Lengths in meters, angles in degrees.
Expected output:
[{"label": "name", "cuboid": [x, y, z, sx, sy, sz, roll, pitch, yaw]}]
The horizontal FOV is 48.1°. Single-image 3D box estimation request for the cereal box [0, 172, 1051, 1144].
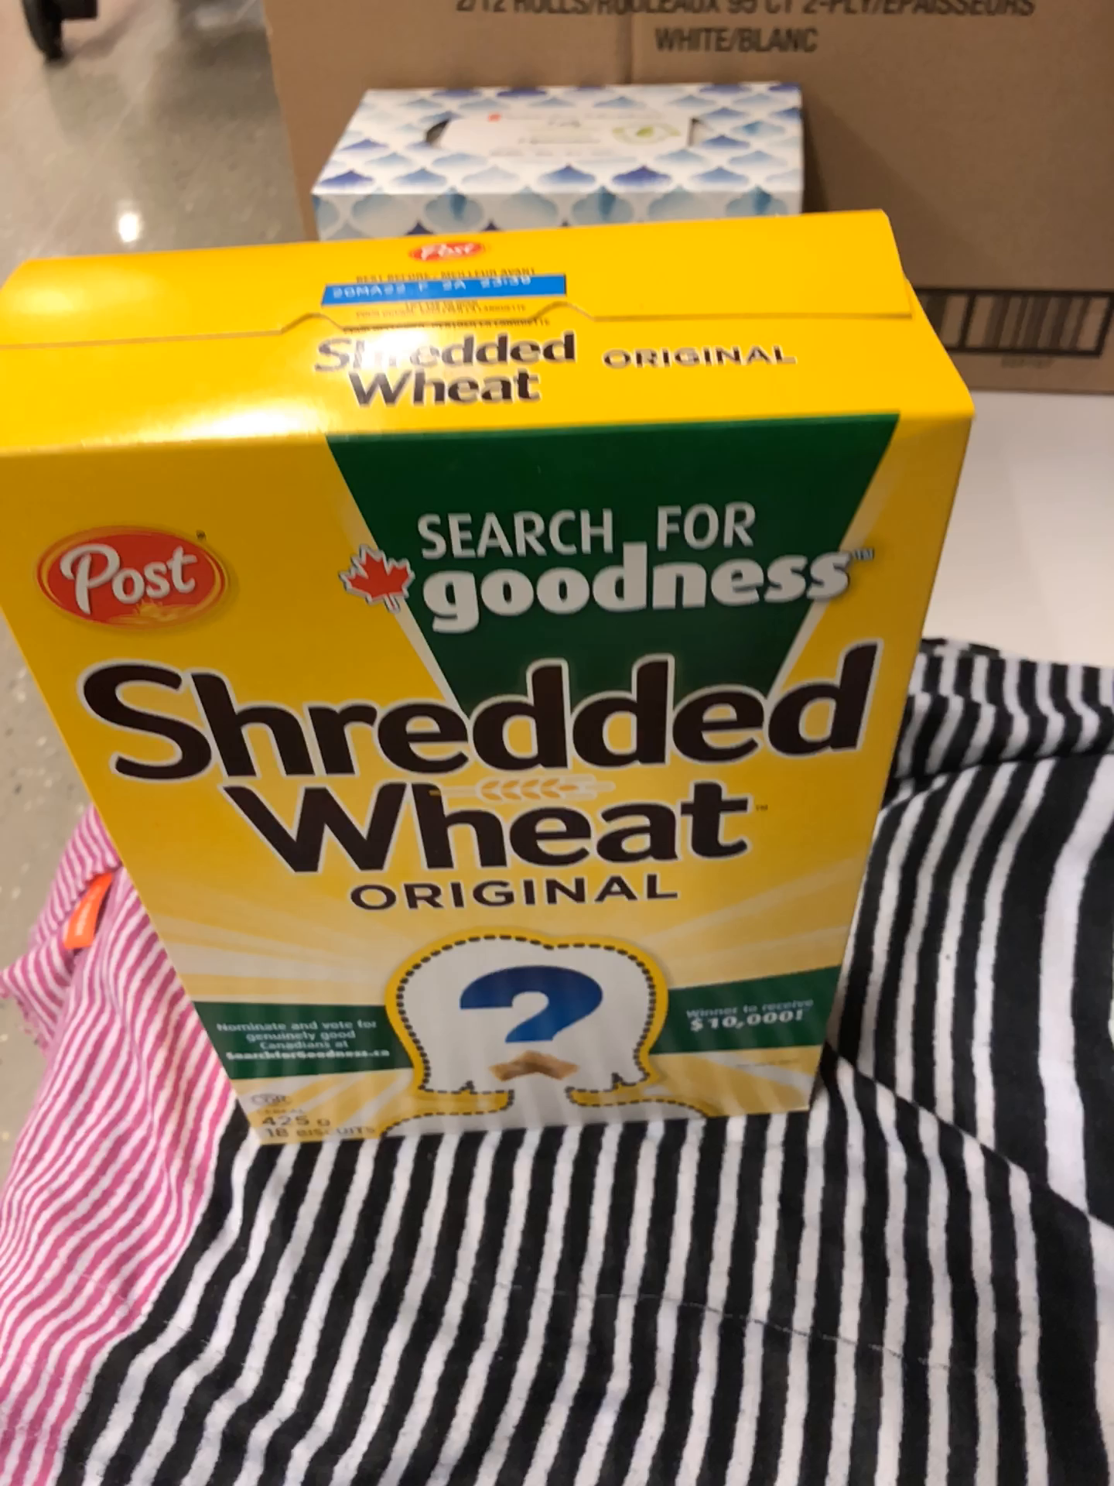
[{"label": "cereal box", "cuboid": [-0.016, 0.005, 0.340, 0.210, 0.269, 0.080, -4, 47, 0]}]
